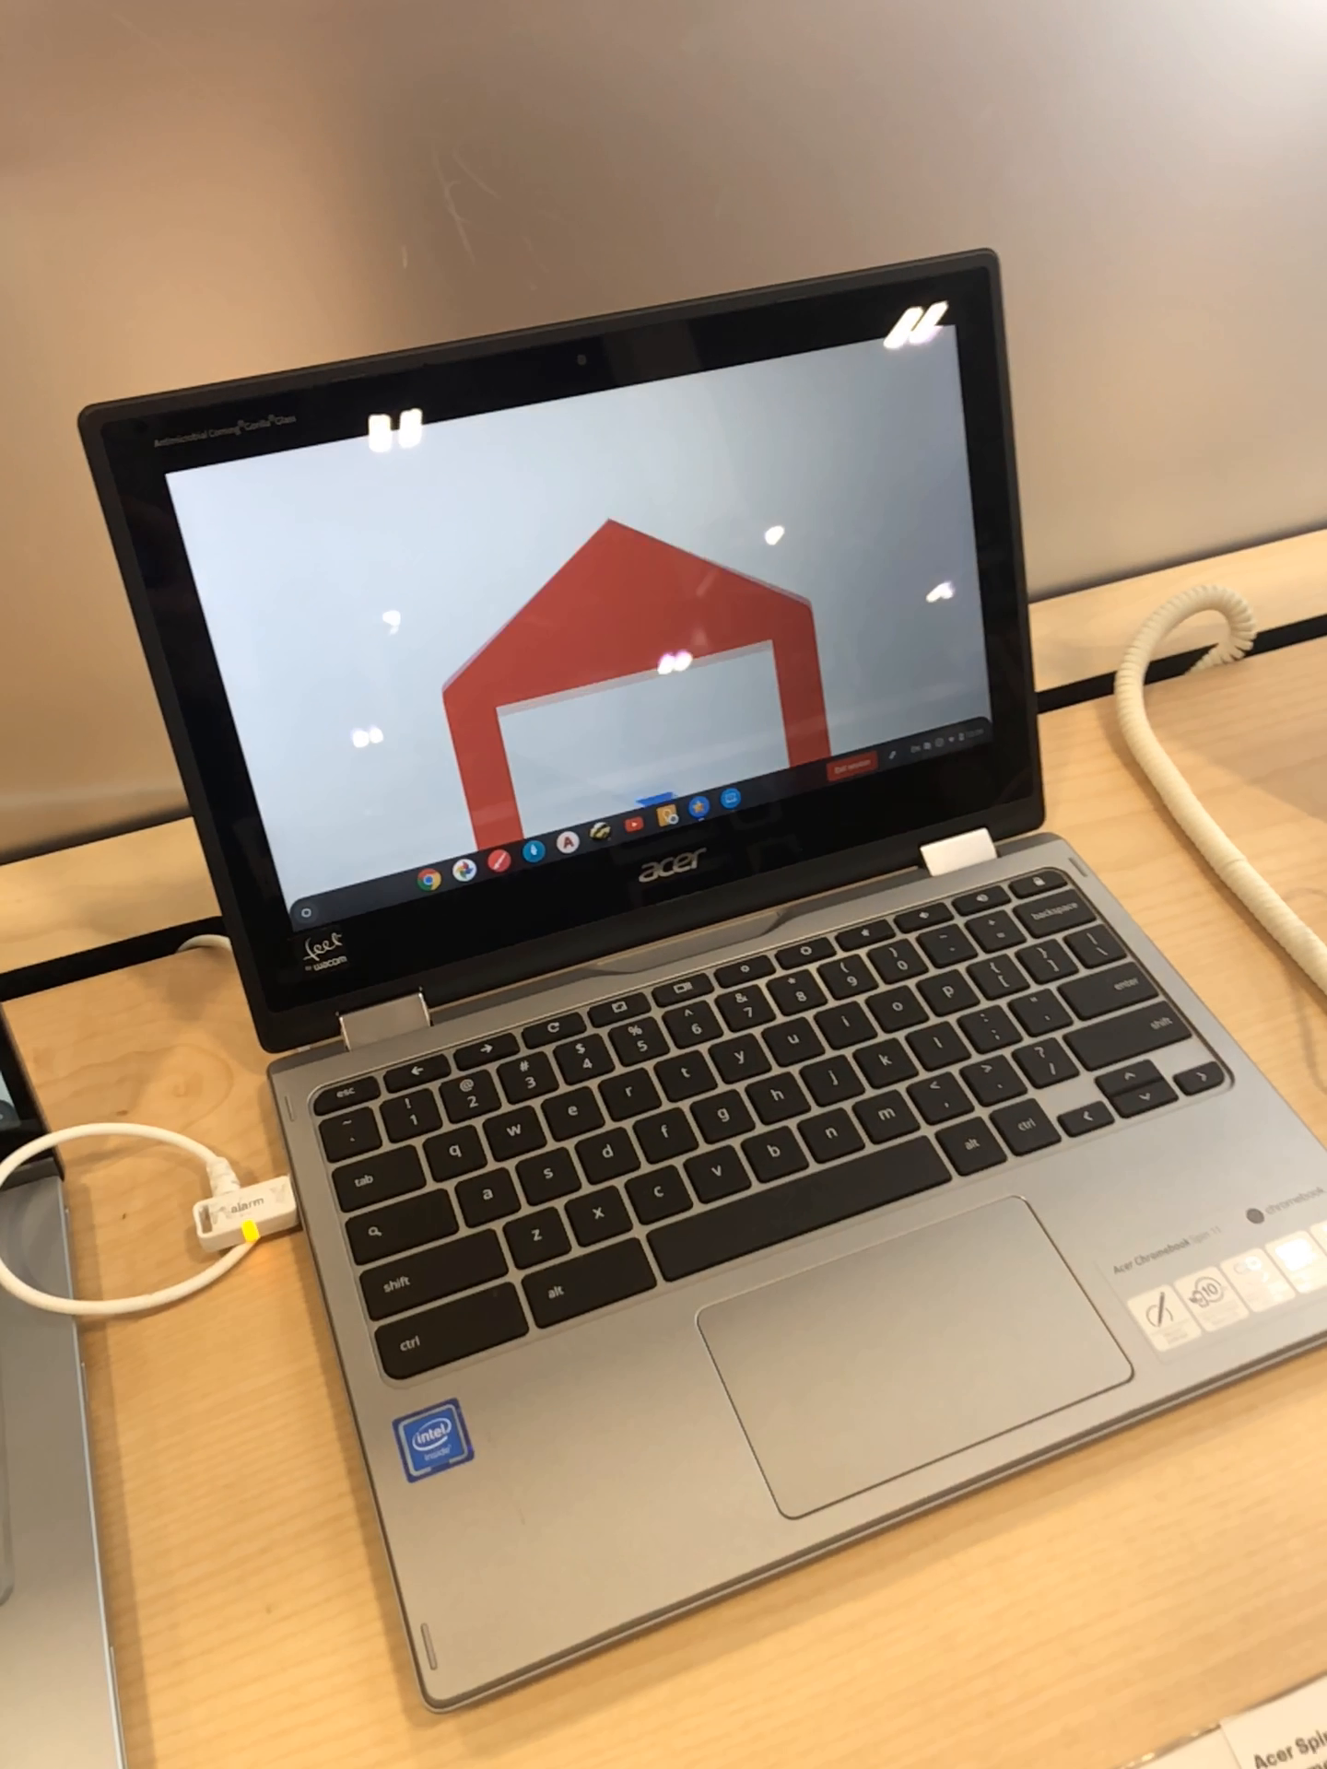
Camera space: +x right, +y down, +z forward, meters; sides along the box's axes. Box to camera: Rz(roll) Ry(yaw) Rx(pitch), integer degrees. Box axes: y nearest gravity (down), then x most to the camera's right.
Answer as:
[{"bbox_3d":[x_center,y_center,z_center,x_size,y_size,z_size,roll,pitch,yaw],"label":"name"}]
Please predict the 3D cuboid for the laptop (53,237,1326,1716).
[{"bbox_3d":[0.024,-0.010,0.403,0.287,0.176,0.296,-16,48,-15],"label":"laptop"}]
